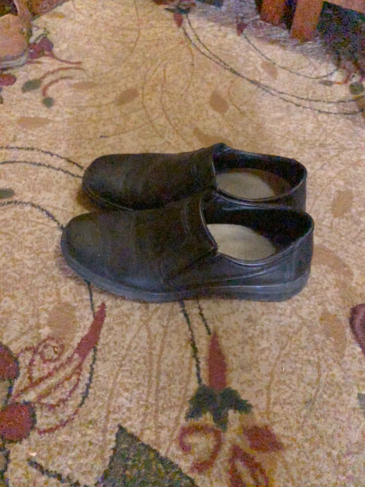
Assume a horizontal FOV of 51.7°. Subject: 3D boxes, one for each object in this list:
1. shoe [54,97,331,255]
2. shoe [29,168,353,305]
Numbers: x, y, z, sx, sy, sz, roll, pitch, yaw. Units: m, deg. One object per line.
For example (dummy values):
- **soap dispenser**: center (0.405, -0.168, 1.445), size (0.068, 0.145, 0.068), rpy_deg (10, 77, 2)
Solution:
- **shoe**: center (0.014, -0.081, 0.456), size (0.290, 0.099, 0.101), rpy_deg (11, 55, 3)
- **shoe**: center (0.008, -0.004, 0.405), size (0.290, 0.099, 0.101), rpy_deg (2, 55, -3)
